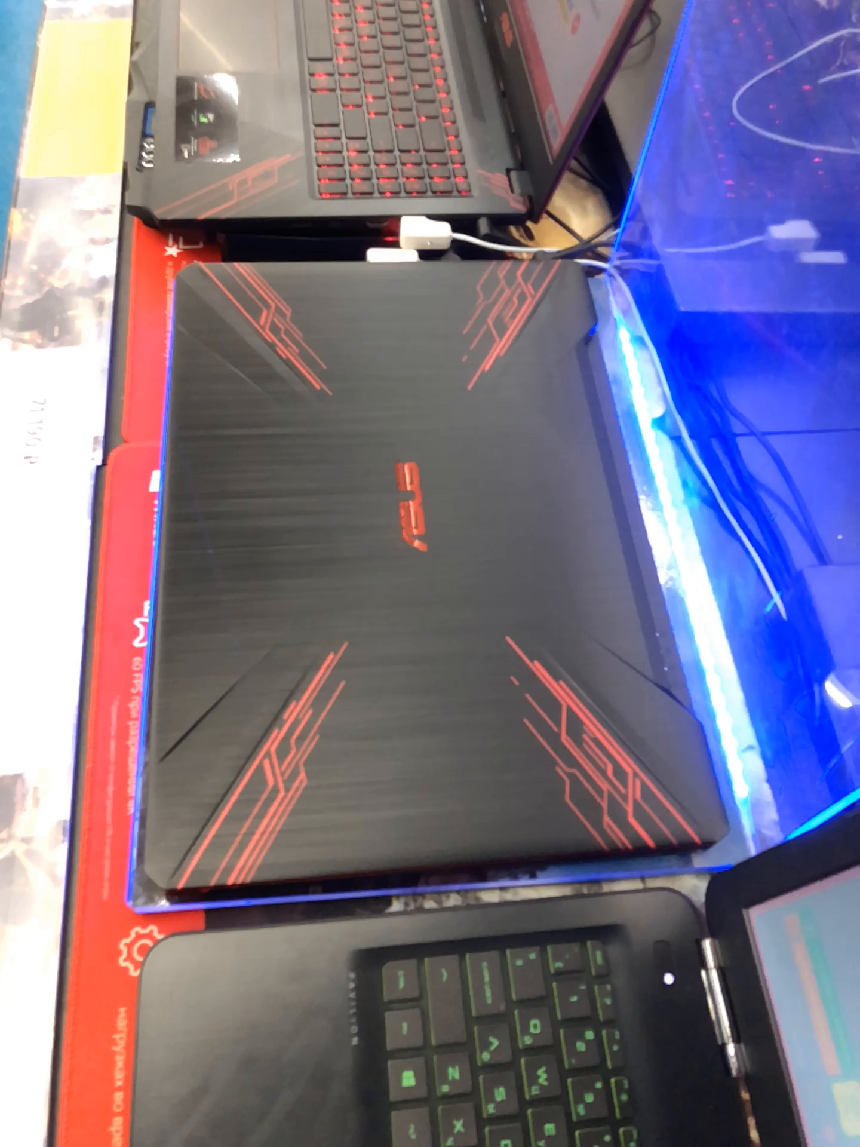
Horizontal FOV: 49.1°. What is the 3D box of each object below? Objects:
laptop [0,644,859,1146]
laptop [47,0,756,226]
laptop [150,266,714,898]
[{"bbox_3d":[0.044,0.251,0.218,0.291,0.242,0.375,-3,60,-5],"label":"laptop"},{"bbox_3d":[-0.034,-0.460,0.618,0.318,0.231,0.391,-4,59,-7],"label":"laptop"},{"bbox_3d":[-0.012,-0.030,0.502,0.243,0.006,0.374,-3,59,-5],"label":"laptop"}]
